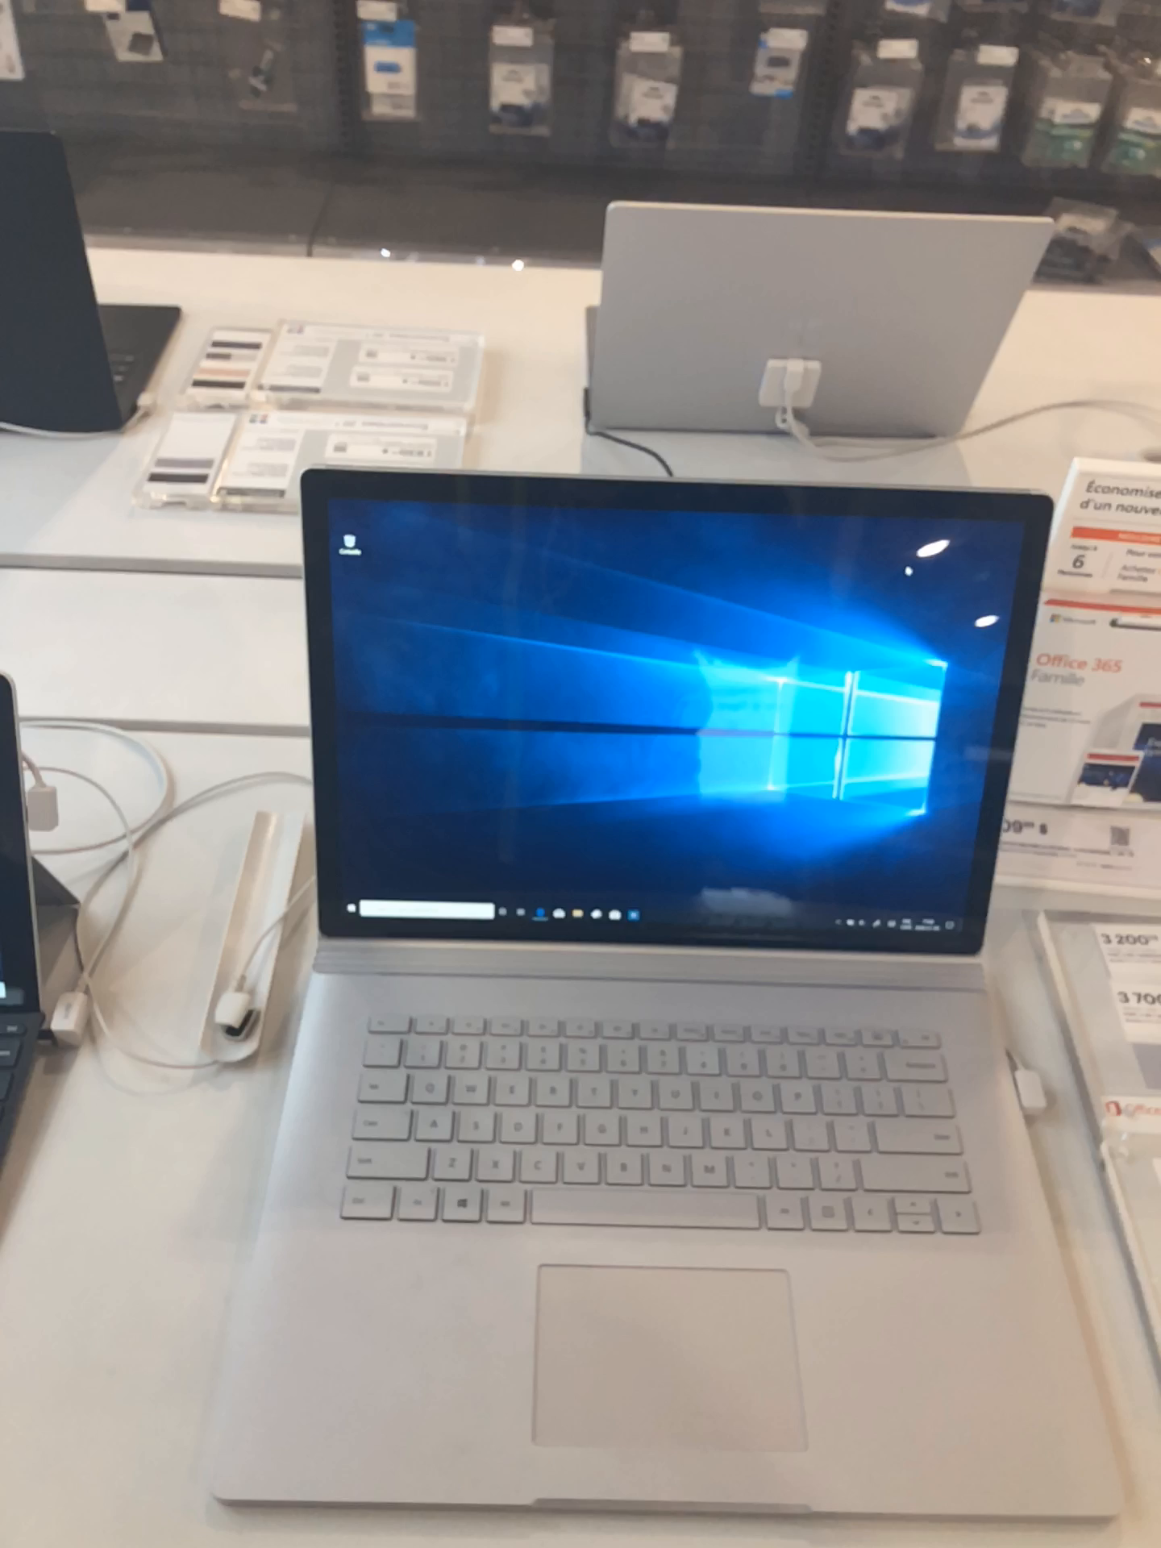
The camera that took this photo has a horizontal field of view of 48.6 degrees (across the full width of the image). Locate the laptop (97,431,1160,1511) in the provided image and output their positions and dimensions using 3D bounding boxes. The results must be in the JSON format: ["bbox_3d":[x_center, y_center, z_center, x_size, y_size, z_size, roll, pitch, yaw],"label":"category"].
[{"bbox_3d":[0.037,0.061,0.535,0.338,0.207,0.366,2,46,-2],"label":"laptop"}]
